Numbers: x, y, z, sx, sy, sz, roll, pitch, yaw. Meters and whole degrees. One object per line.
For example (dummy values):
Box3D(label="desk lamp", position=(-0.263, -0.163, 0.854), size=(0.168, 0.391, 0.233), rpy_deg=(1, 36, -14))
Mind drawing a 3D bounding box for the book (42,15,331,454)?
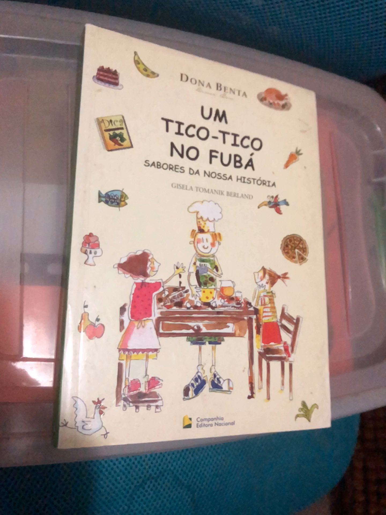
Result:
Box3D(label="book", position=(0.007, -0.013, 0.267), size=(0.172, 0.020, 0.232), rpy_deg=(6, 79, -24))
